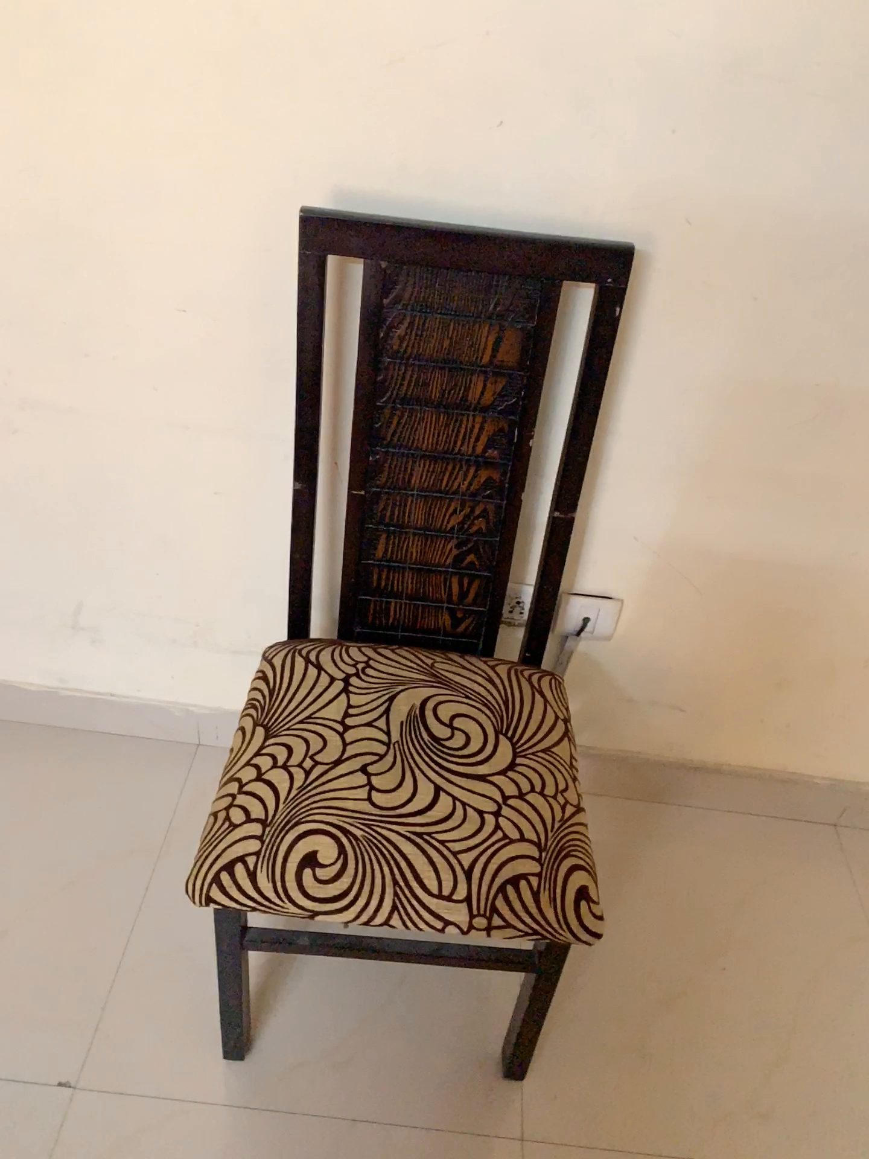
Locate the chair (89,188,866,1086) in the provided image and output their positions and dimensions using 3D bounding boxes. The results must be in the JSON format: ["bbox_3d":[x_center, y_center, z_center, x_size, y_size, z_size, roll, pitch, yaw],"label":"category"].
[{"bbox_3d":[-0.011,0.105,1.109,0.530,0.922,0.585,5,38,-3],"label":"chair"}]
